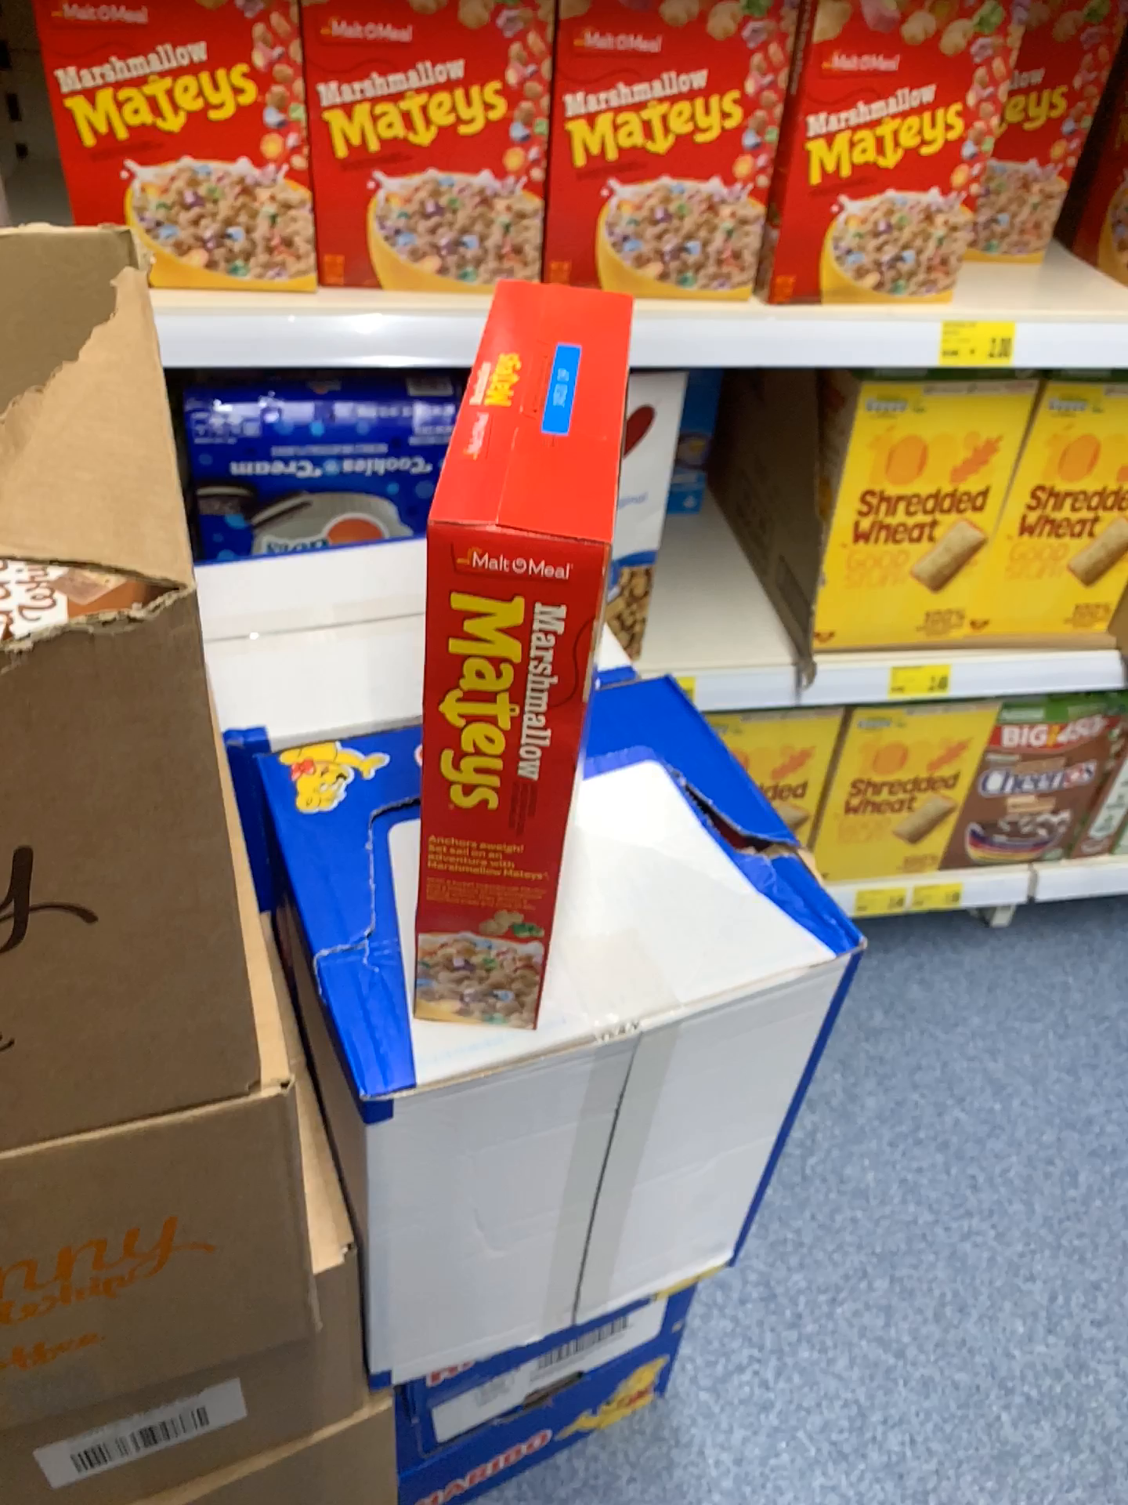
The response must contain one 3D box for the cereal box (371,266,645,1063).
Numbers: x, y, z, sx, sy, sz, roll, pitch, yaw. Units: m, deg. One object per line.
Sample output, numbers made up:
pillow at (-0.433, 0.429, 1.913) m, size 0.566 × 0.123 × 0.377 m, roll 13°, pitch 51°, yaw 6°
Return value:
cereal box at (-0.026, -0.029, 0.513) m, size 0.070 × 0.287 × 0.192 m, roll 8°, pitch 44°, yaw 1°
